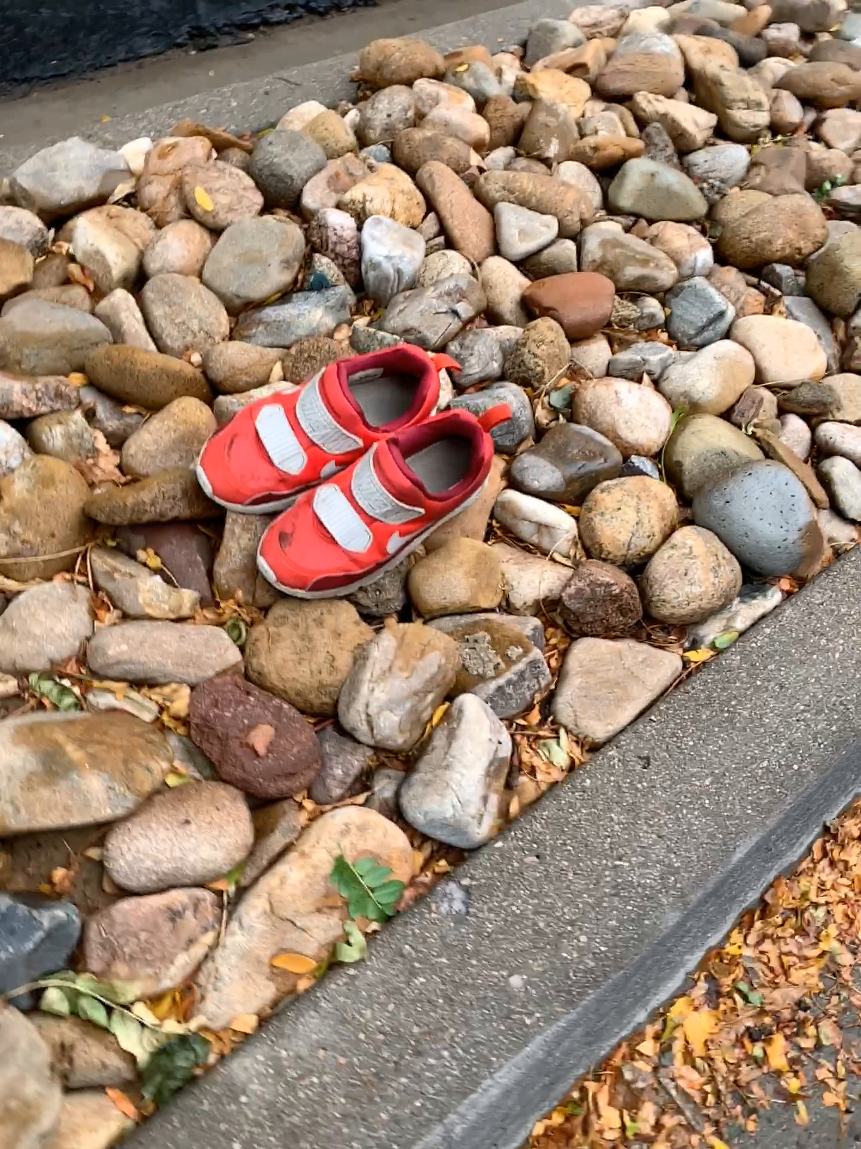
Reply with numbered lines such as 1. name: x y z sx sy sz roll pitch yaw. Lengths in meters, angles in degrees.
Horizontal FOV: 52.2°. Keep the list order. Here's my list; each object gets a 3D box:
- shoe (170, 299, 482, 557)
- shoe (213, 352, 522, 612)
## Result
1. shoe: -0.076 -0.111 0.680 0.210 0.100 0.080 -29 77 -11
2. shoe: -0.043 -0.067 0.679 0.210 0.100 0.080 -30 77 -4
